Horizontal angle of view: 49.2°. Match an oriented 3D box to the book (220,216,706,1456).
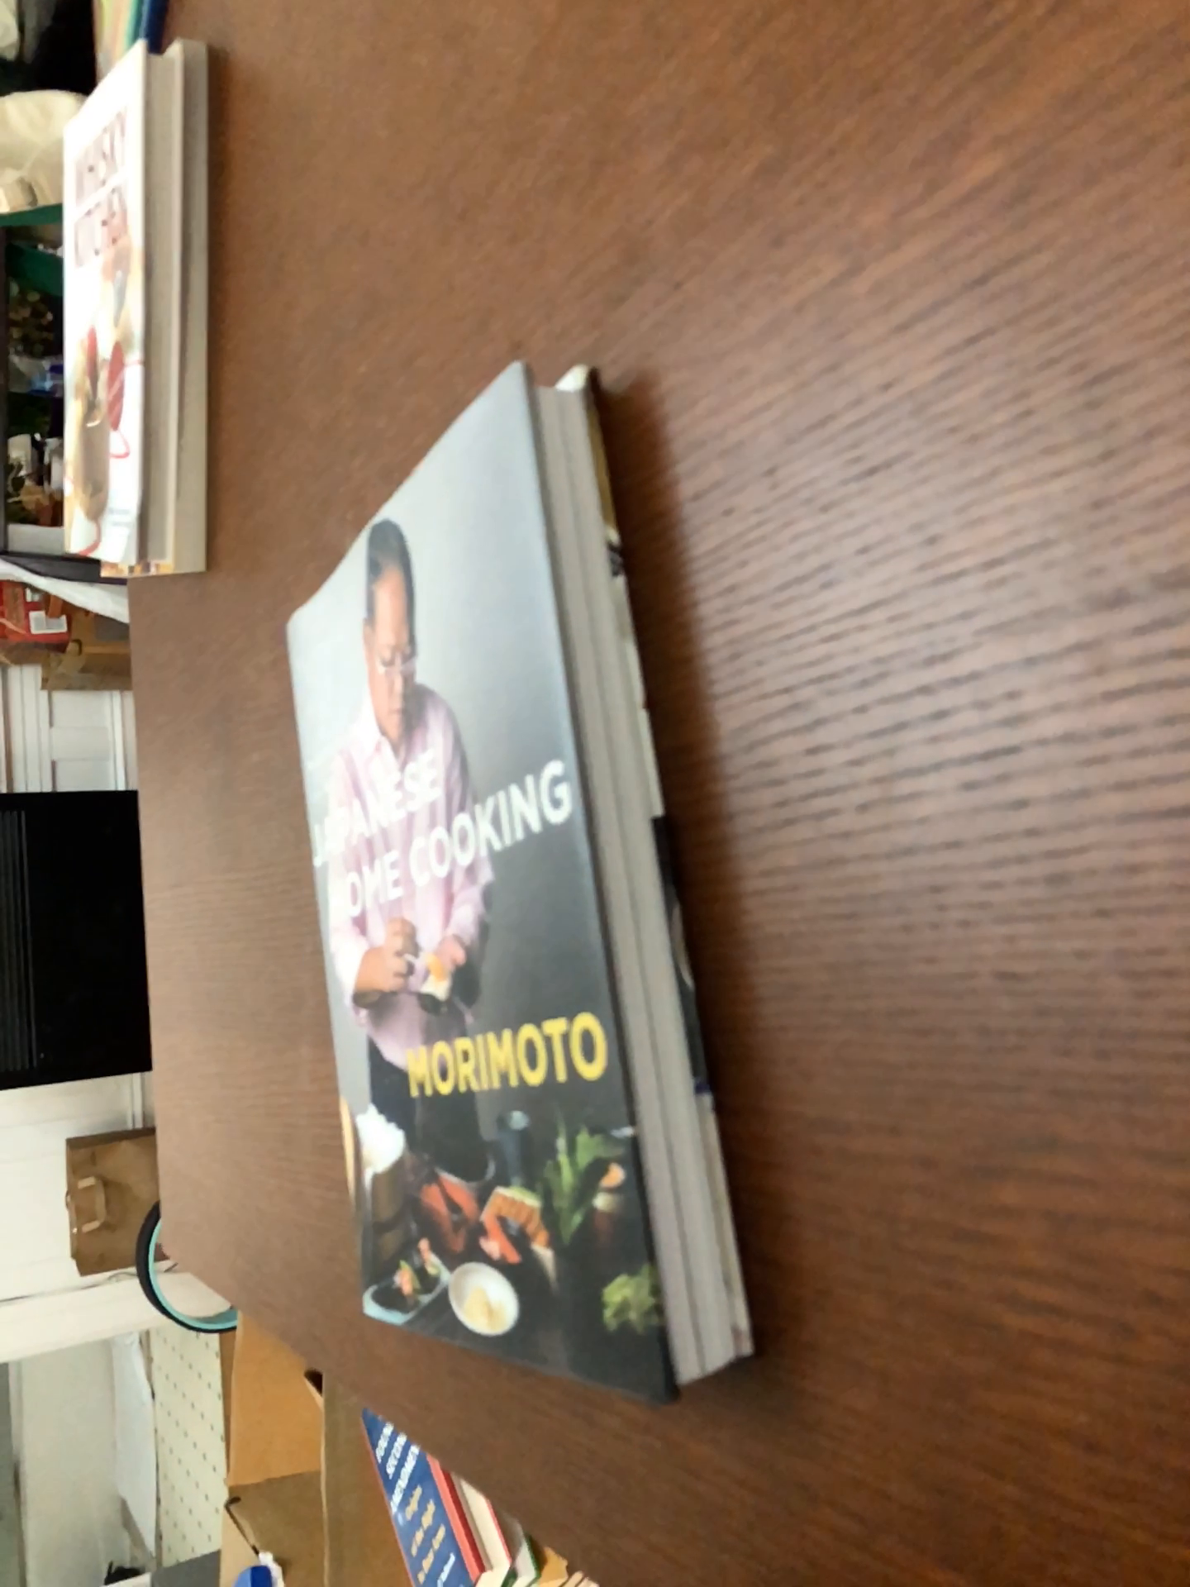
[{"bbox_3d":[-0.063,0.022,0.408,0.221,0.030,0.300,-26,69,57],"label":"book"}]
